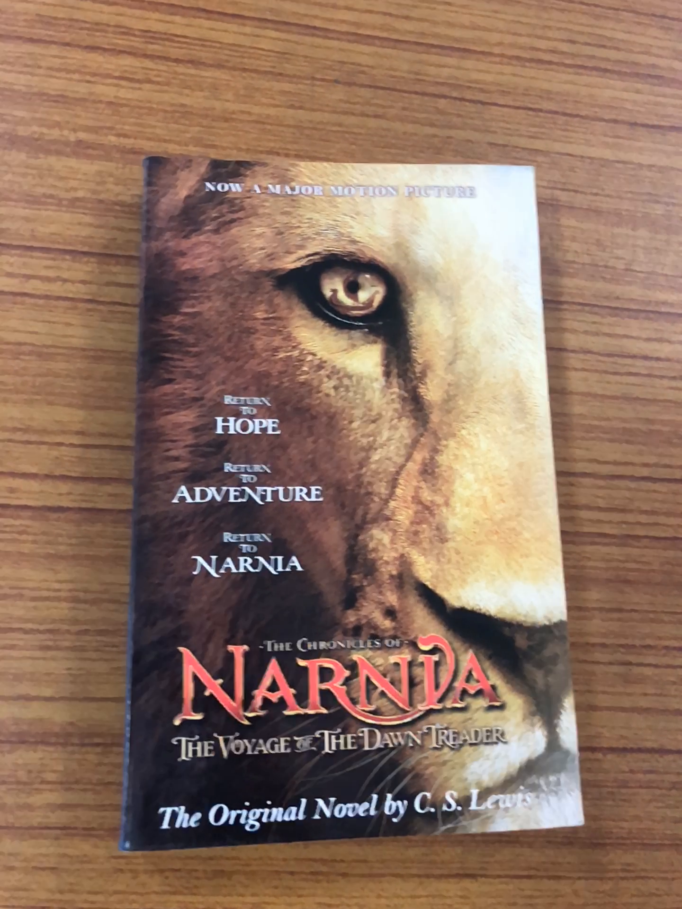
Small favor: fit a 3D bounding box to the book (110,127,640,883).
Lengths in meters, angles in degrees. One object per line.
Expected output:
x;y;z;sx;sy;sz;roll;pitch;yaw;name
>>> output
0.006;0.006;0.204;0.120;0.030;0.180;0;78;-8;book
